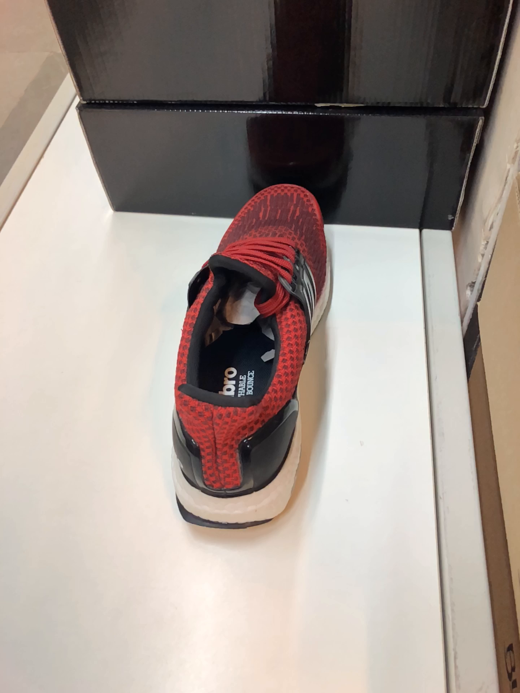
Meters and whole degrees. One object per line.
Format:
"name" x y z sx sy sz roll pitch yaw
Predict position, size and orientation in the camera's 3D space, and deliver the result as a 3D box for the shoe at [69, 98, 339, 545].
"shoe" -0.011 -0.035 0.384 0.111 0.108 0.287 3 55 8
